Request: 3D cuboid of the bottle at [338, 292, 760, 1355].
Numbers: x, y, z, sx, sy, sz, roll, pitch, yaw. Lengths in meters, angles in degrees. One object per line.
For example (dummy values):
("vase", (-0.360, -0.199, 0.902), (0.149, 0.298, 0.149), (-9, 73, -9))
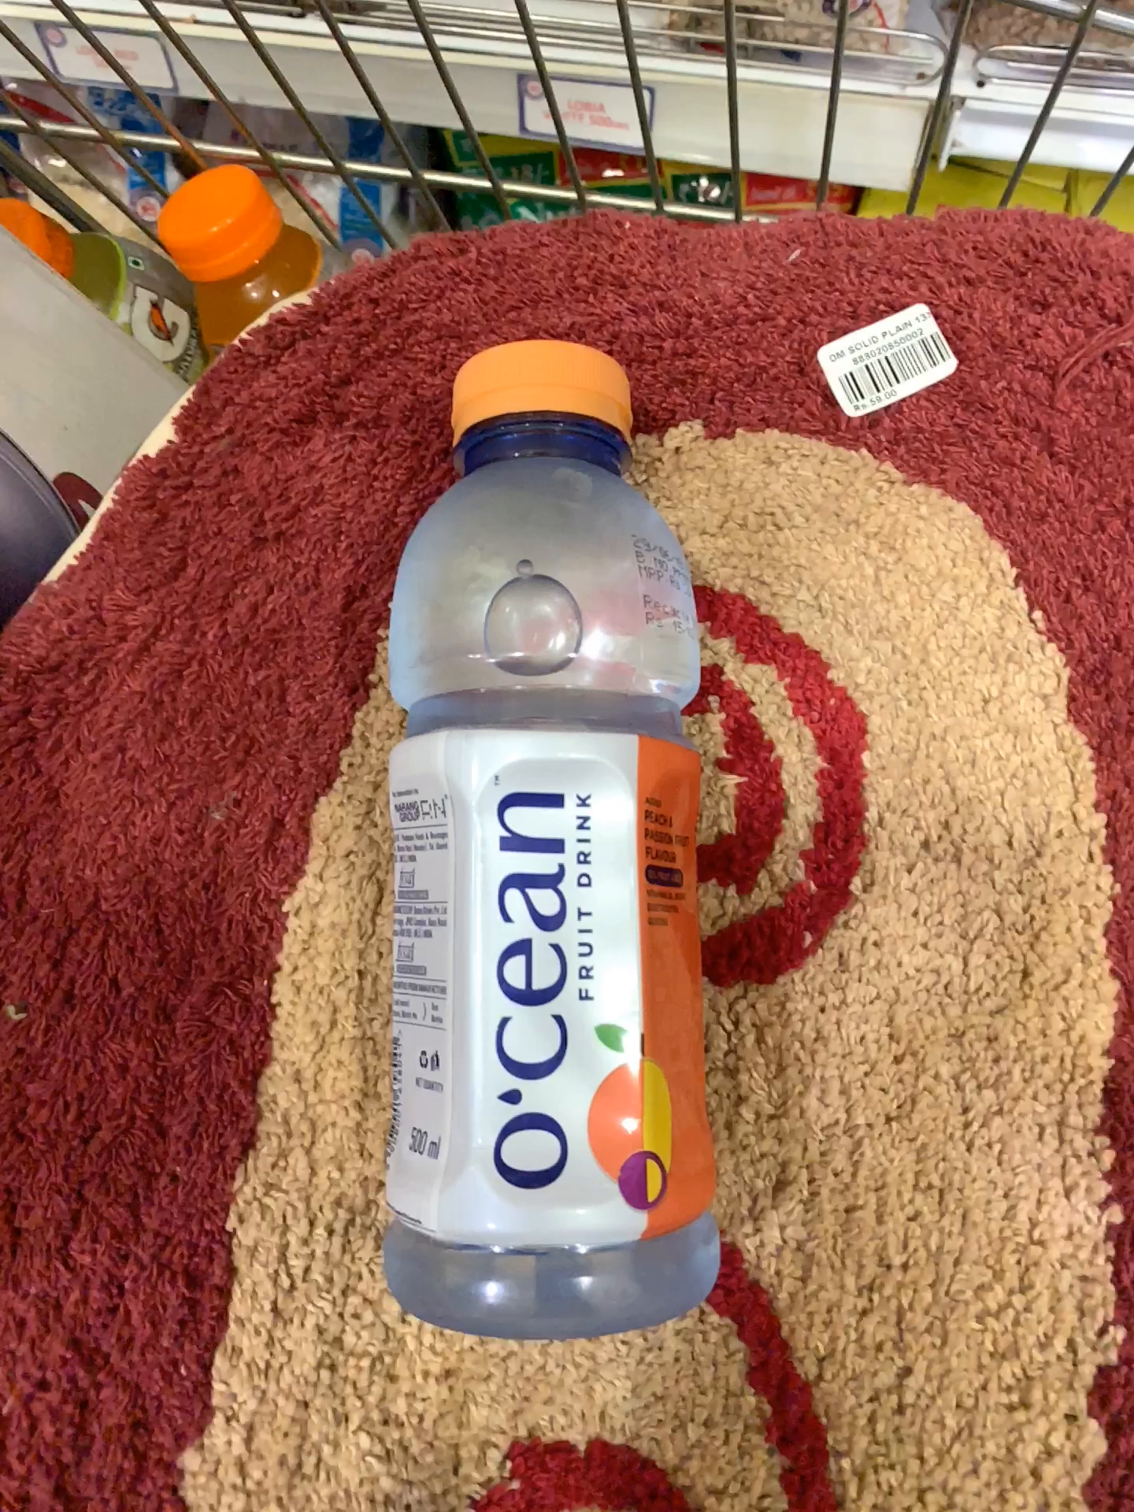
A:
("bottle", (-0.003, 0.011, 0.229), (0.070, 0.060, 0.180), (1, 87, -2))
